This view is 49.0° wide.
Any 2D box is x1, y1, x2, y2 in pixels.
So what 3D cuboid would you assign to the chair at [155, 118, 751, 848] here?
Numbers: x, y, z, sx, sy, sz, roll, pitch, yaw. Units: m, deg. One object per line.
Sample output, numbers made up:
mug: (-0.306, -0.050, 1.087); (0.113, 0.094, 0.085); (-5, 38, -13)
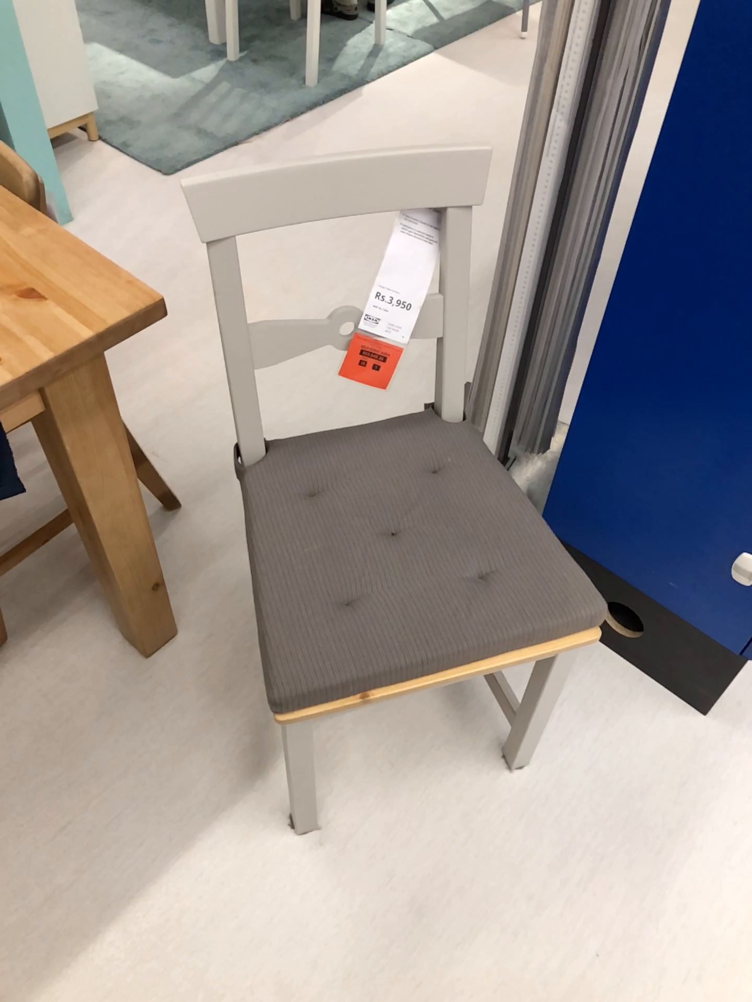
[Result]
chair: (0.033, 0.023, 1.057); (0.430, 0.765, 0.473); (-13, 52, -13)
